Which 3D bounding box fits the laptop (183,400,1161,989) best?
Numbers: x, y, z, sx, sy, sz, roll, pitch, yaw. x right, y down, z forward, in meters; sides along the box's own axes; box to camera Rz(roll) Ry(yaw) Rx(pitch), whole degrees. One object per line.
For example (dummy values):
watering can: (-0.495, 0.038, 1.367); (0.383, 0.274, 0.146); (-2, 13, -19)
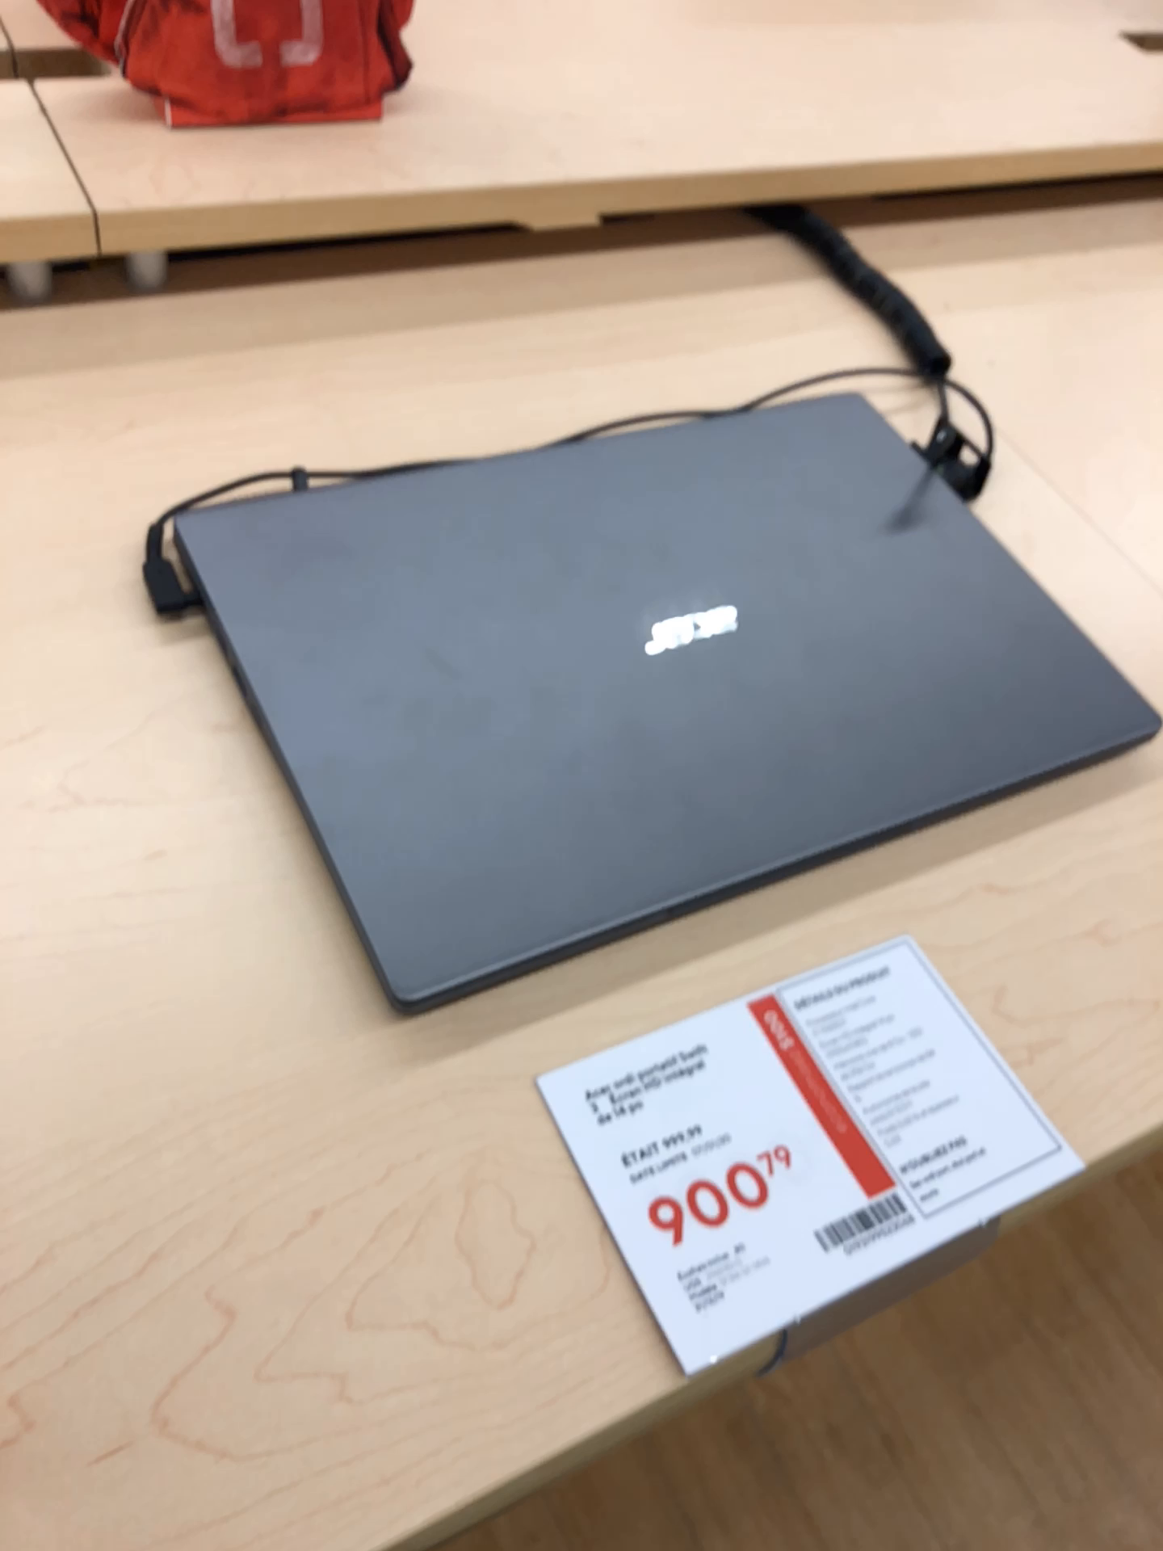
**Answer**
laptop: (0.039, -0.055, 0.473); (0.307, 0.001, 0.201); (-16, 57, -25)
